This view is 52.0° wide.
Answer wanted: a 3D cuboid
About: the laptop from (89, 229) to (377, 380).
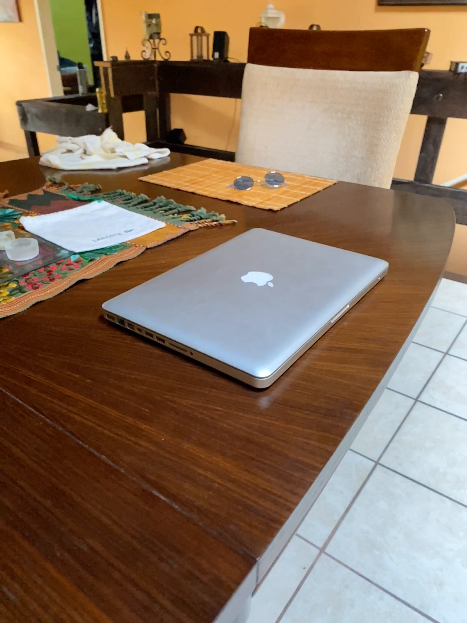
[{"bbox_3d":[0.017,-0.036,0.624,0.232,0.002,0.325,20,35,29],"label":"laptop"}]
